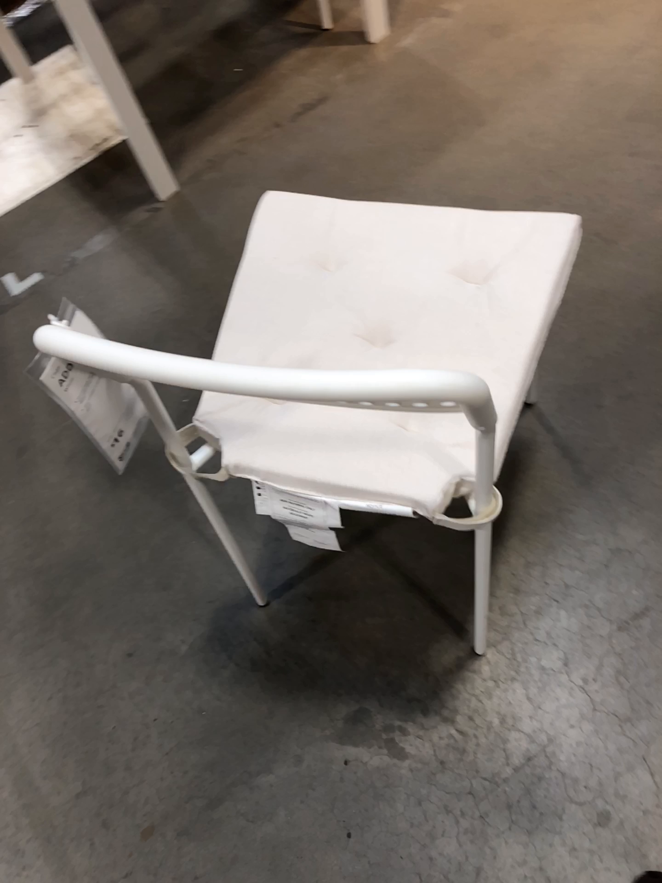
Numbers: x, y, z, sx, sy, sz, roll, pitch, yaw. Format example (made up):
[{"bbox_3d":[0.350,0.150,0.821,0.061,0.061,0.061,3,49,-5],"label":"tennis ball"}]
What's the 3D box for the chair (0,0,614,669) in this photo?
[{"bbox_3d":[0.031,-0.101,0.917,0.481,0.738,0.531,7,64,16],"label":"chair"}]
